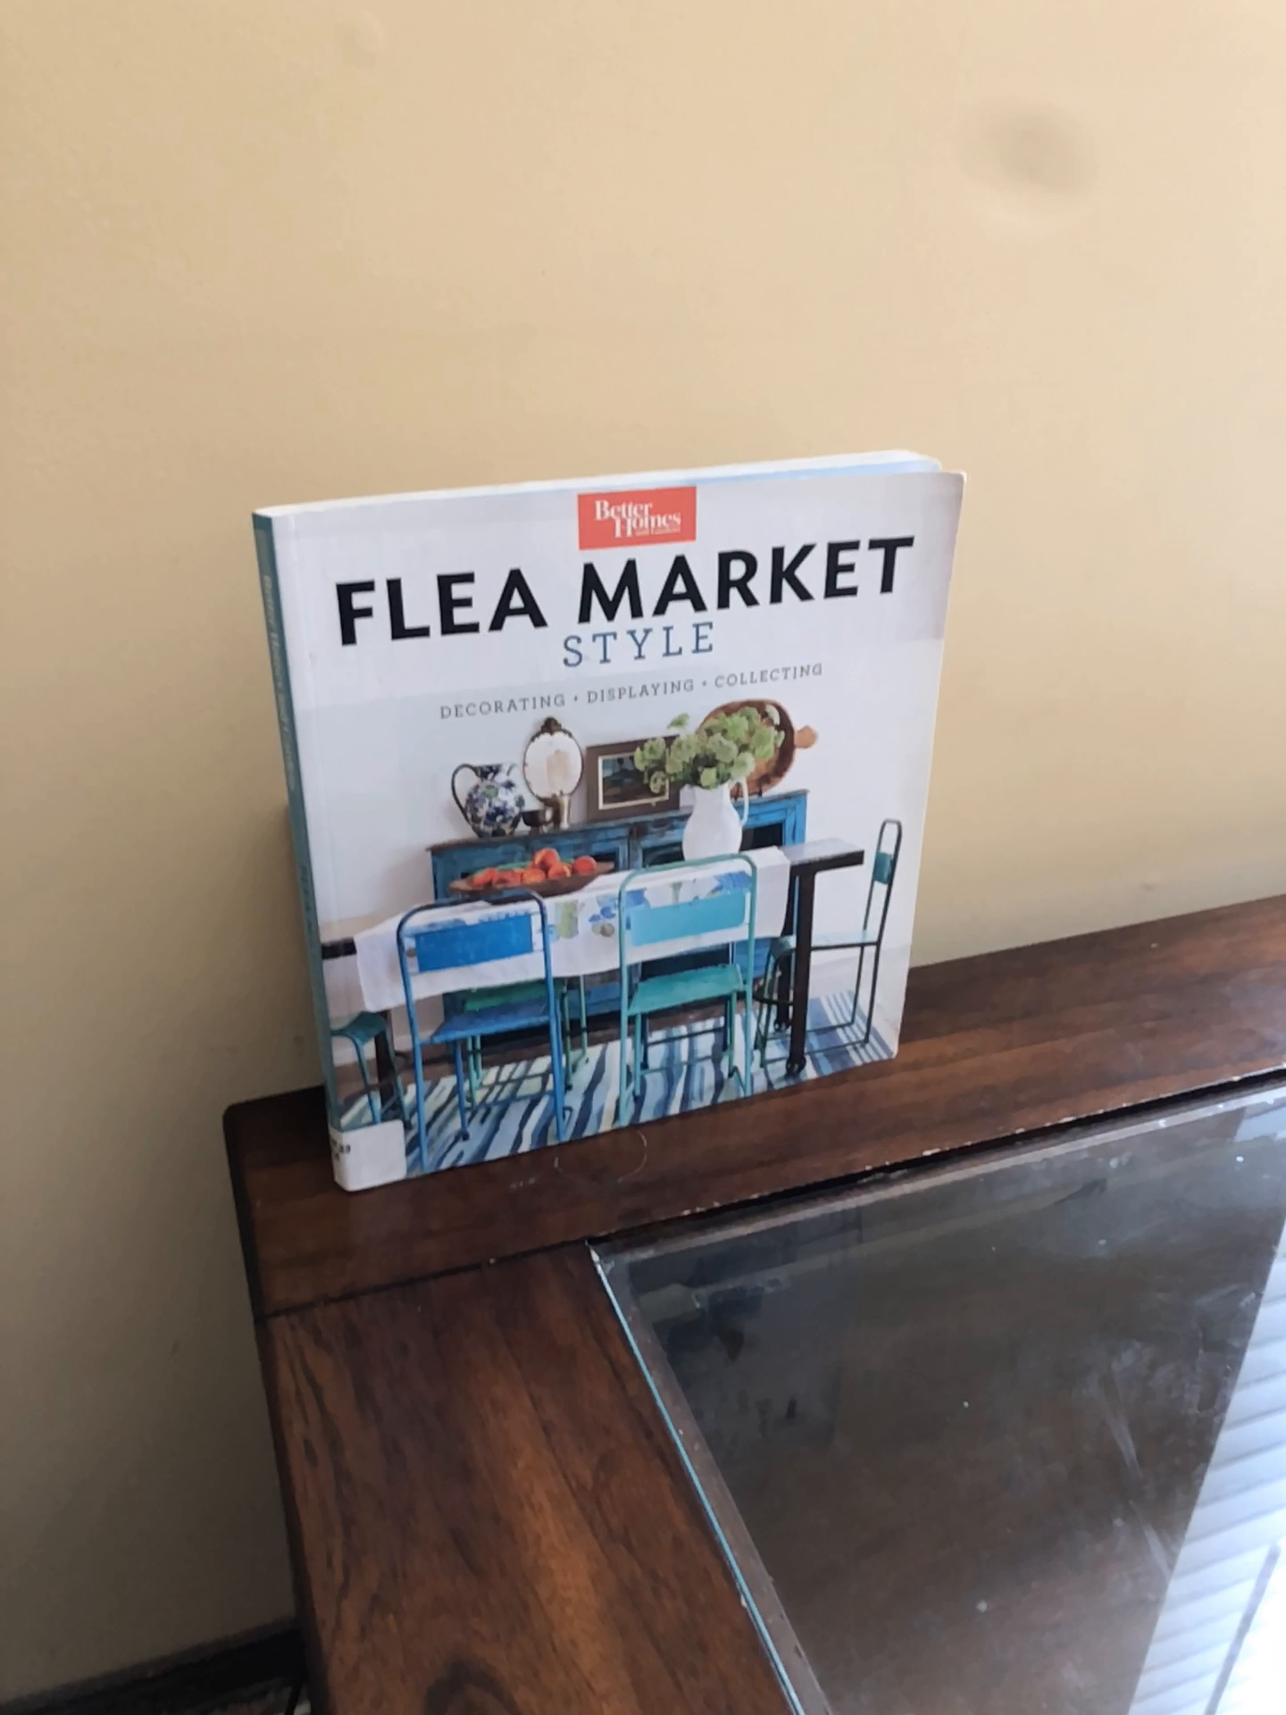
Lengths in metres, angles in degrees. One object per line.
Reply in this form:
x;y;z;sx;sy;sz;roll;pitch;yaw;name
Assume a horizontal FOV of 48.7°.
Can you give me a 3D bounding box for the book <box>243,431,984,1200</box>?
-0.003;-0.014;0.494;0.233;0.239;0.032;-11;30;-20;book
